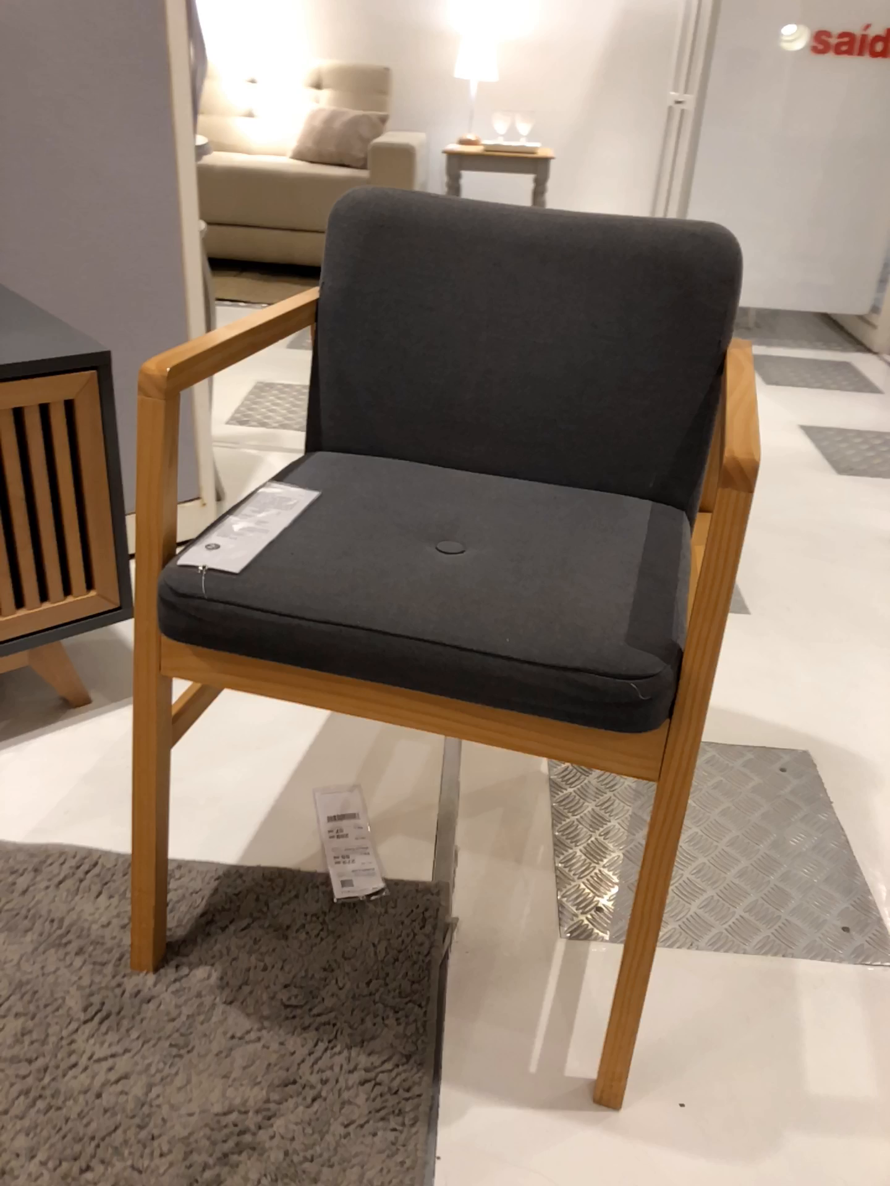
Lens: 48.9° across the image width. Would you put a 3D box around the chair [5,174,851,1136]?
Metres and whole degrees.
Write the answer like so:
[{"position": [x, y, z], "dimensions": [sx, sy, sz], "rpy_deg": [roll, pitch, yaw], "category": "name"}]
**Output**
[{"position": [0.030, -0.023, 1.099], "dimensions": [0.560, 0.734, 0.705], "rpy_deg": [10, 28, 11], "category": "chair"}]
